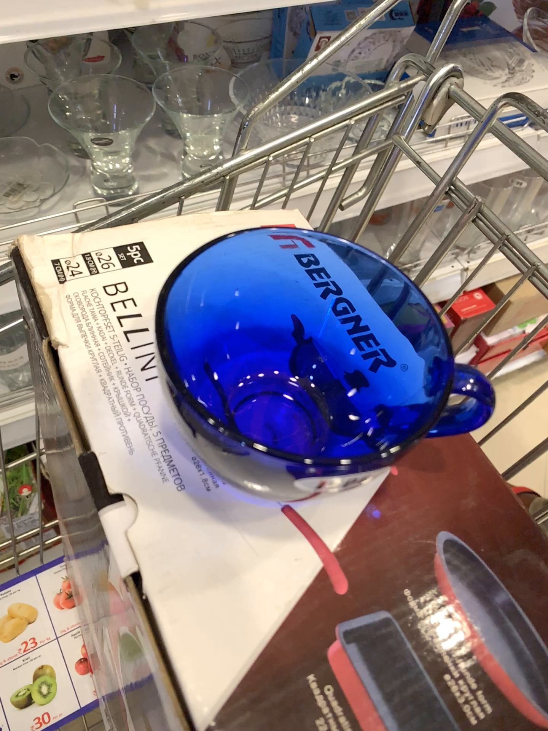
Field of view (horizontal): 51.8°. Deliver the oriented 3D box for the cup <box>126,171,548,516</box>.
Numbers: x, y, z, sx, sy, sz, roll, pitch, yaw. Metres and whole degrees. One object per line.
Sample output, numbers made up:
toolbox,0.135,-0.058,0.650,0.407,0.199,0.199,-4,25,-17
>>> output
cup,0.022,-0.006,0.166,0.110,0.050,0.080,4,55,-4
